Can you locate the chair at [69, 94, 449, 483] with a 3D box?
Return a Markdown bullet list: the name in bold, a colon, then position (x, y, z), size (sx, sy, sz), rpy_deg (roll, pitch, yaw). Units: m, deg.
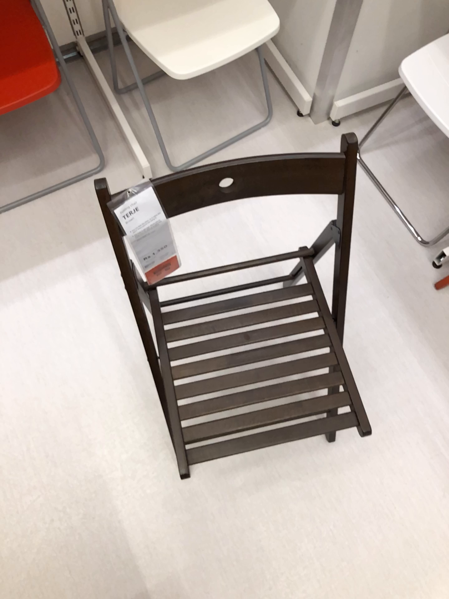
- **chair**: position (0.036, 0.078, 1.062), size (0.460, 0.778, 0.501), rpy_deg (-12, 70, -5)
